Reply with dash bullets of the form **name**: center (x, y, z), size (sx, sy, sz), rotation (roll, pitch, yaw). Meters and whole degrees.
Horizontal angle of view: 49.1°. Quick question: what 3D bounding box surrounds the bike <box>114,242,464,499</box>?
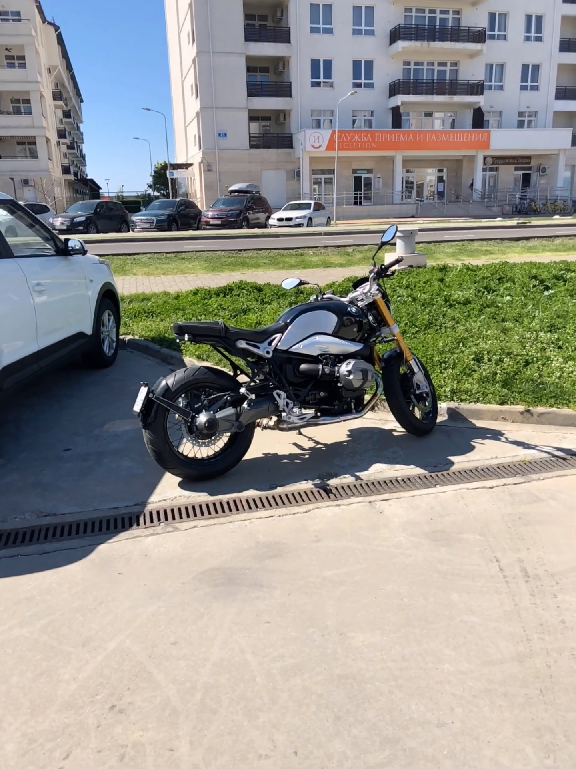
- **bike**: center (0.052, -0.212, 3.582), size (1.834, 1.013, 0.778), rotation (-11, 18, -30)
